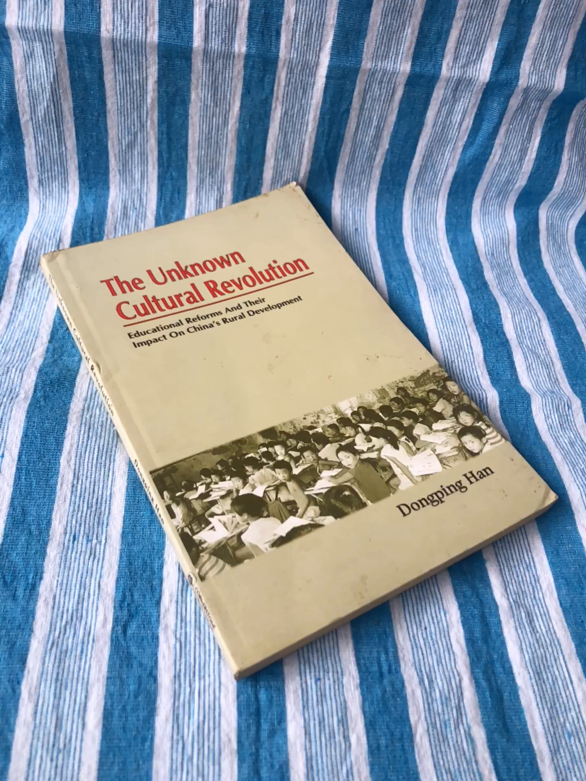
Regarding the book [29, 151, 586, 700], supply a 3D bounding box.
[{"bbox_3d":[-0.010,-0.018,0.273,0.140,0.020,0.230,-23,54,-17],"label":"book"}]
